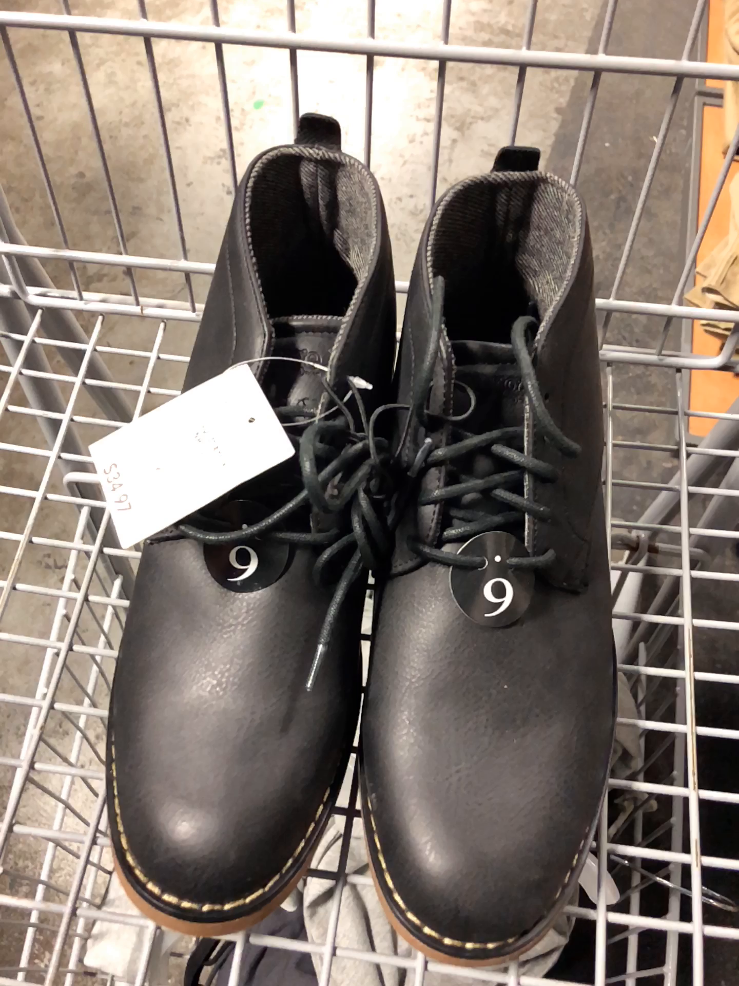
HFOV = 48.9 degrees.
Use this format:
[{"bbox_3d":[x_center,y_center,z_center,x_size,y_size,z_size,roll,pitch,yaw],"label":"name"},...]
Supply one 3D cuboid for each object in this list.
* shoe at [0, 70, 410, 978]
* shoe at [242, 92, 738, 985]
[{"bbox_3d":[-0.053,0.019,0.307,0.100,0.199,0.261,7,62,4],"label":"shoe"},{"bbox_3d":[0.042,0.027,0.313,0.100,0.199,0.271,7,62,4],"label":"shoe"}]
